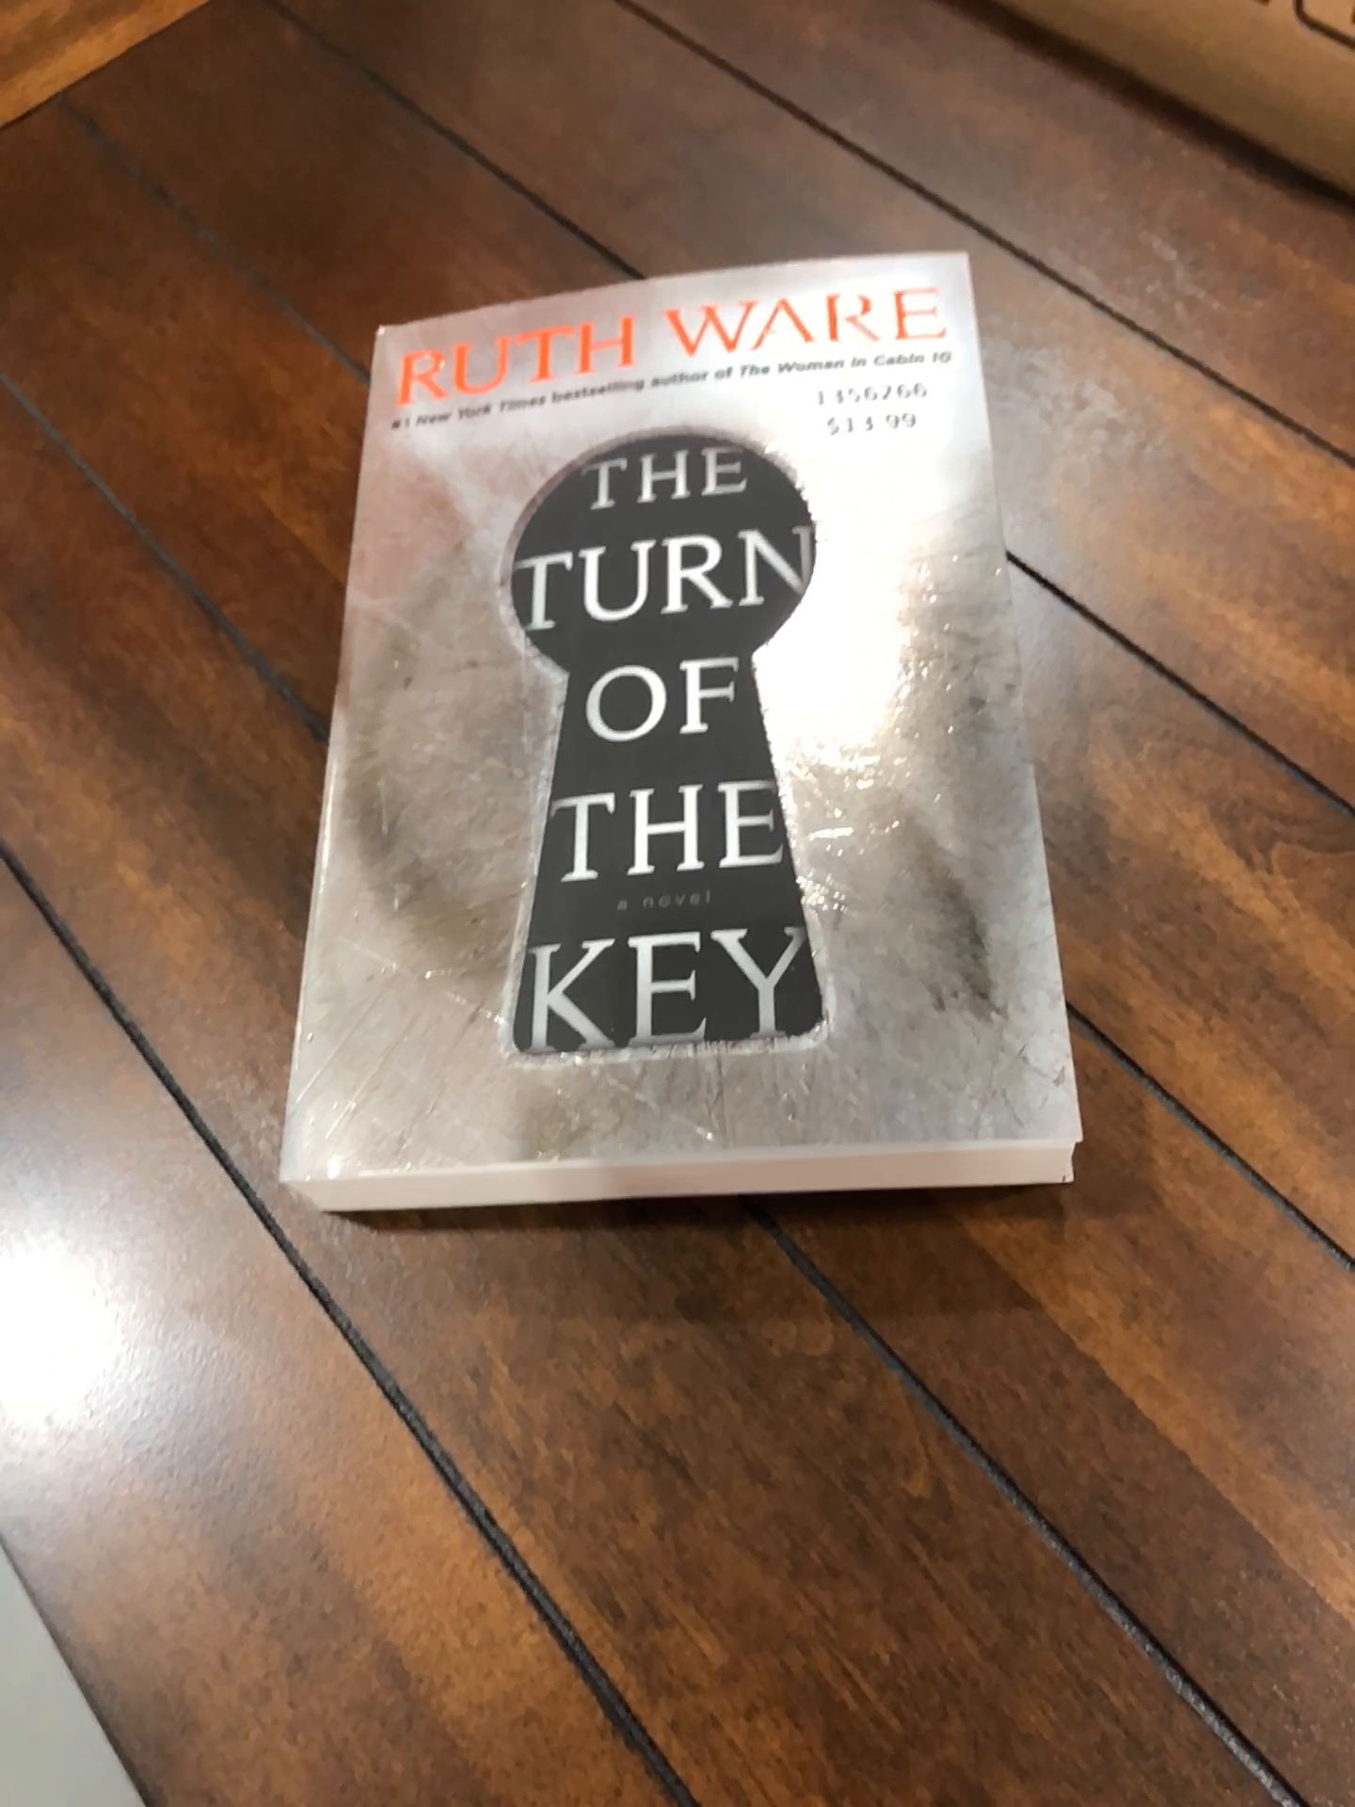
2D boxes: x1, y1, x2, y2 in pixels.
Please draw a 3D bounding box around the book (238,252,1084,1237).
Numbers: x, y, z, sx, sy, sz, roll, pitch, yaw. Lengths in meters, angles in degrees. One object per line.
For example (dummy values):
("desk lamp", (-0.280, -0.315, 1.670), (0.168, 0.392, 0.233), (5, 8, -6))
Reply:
("book", (-0.004, -0.046, 0.344), (0.158, 0.028, 0.233), (-3, 63, 6))
